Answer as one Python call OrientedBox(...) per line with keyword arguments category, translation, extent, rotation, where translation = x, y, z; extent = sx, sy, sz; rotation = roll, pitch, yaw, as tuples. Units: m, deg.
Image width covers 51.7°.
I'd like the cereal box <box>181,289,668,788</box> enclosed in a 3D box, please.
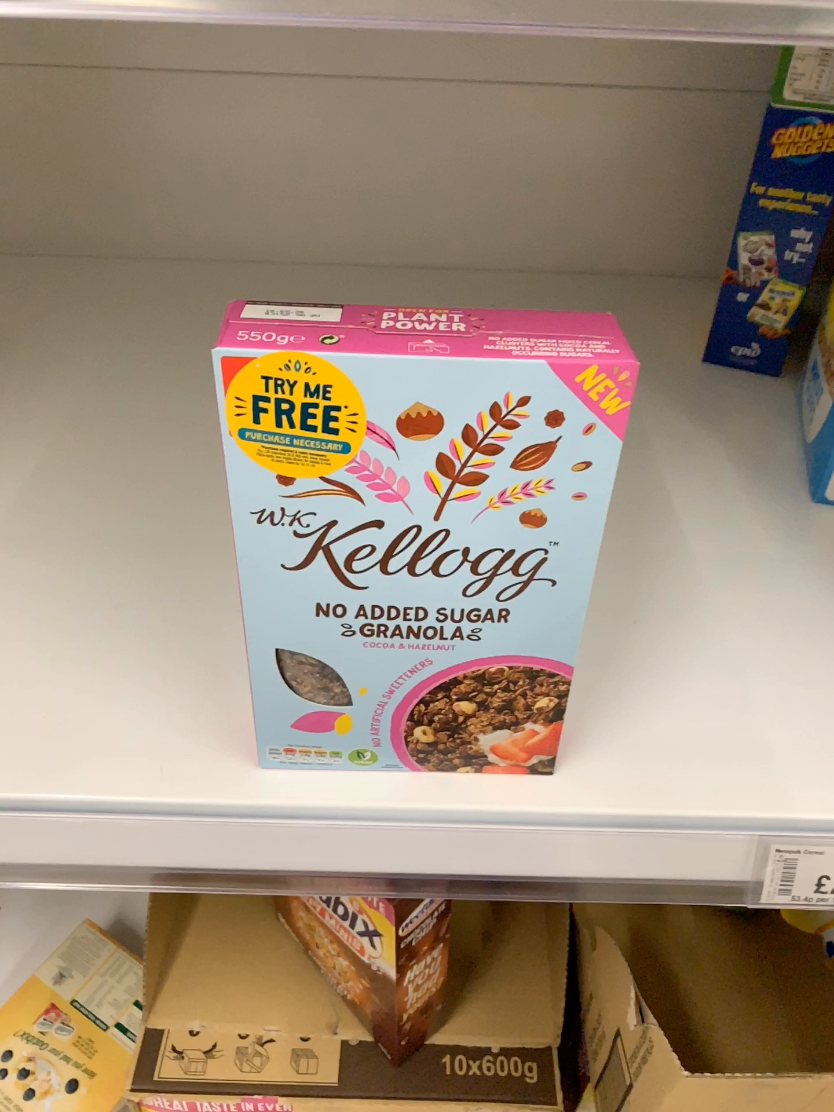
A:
OrientedBox(category="cereal box", translation=(-0.001, 0.009, 0.398), extent=(0.170, 0.248, 0.050), rotation=(2, 39, -1))
